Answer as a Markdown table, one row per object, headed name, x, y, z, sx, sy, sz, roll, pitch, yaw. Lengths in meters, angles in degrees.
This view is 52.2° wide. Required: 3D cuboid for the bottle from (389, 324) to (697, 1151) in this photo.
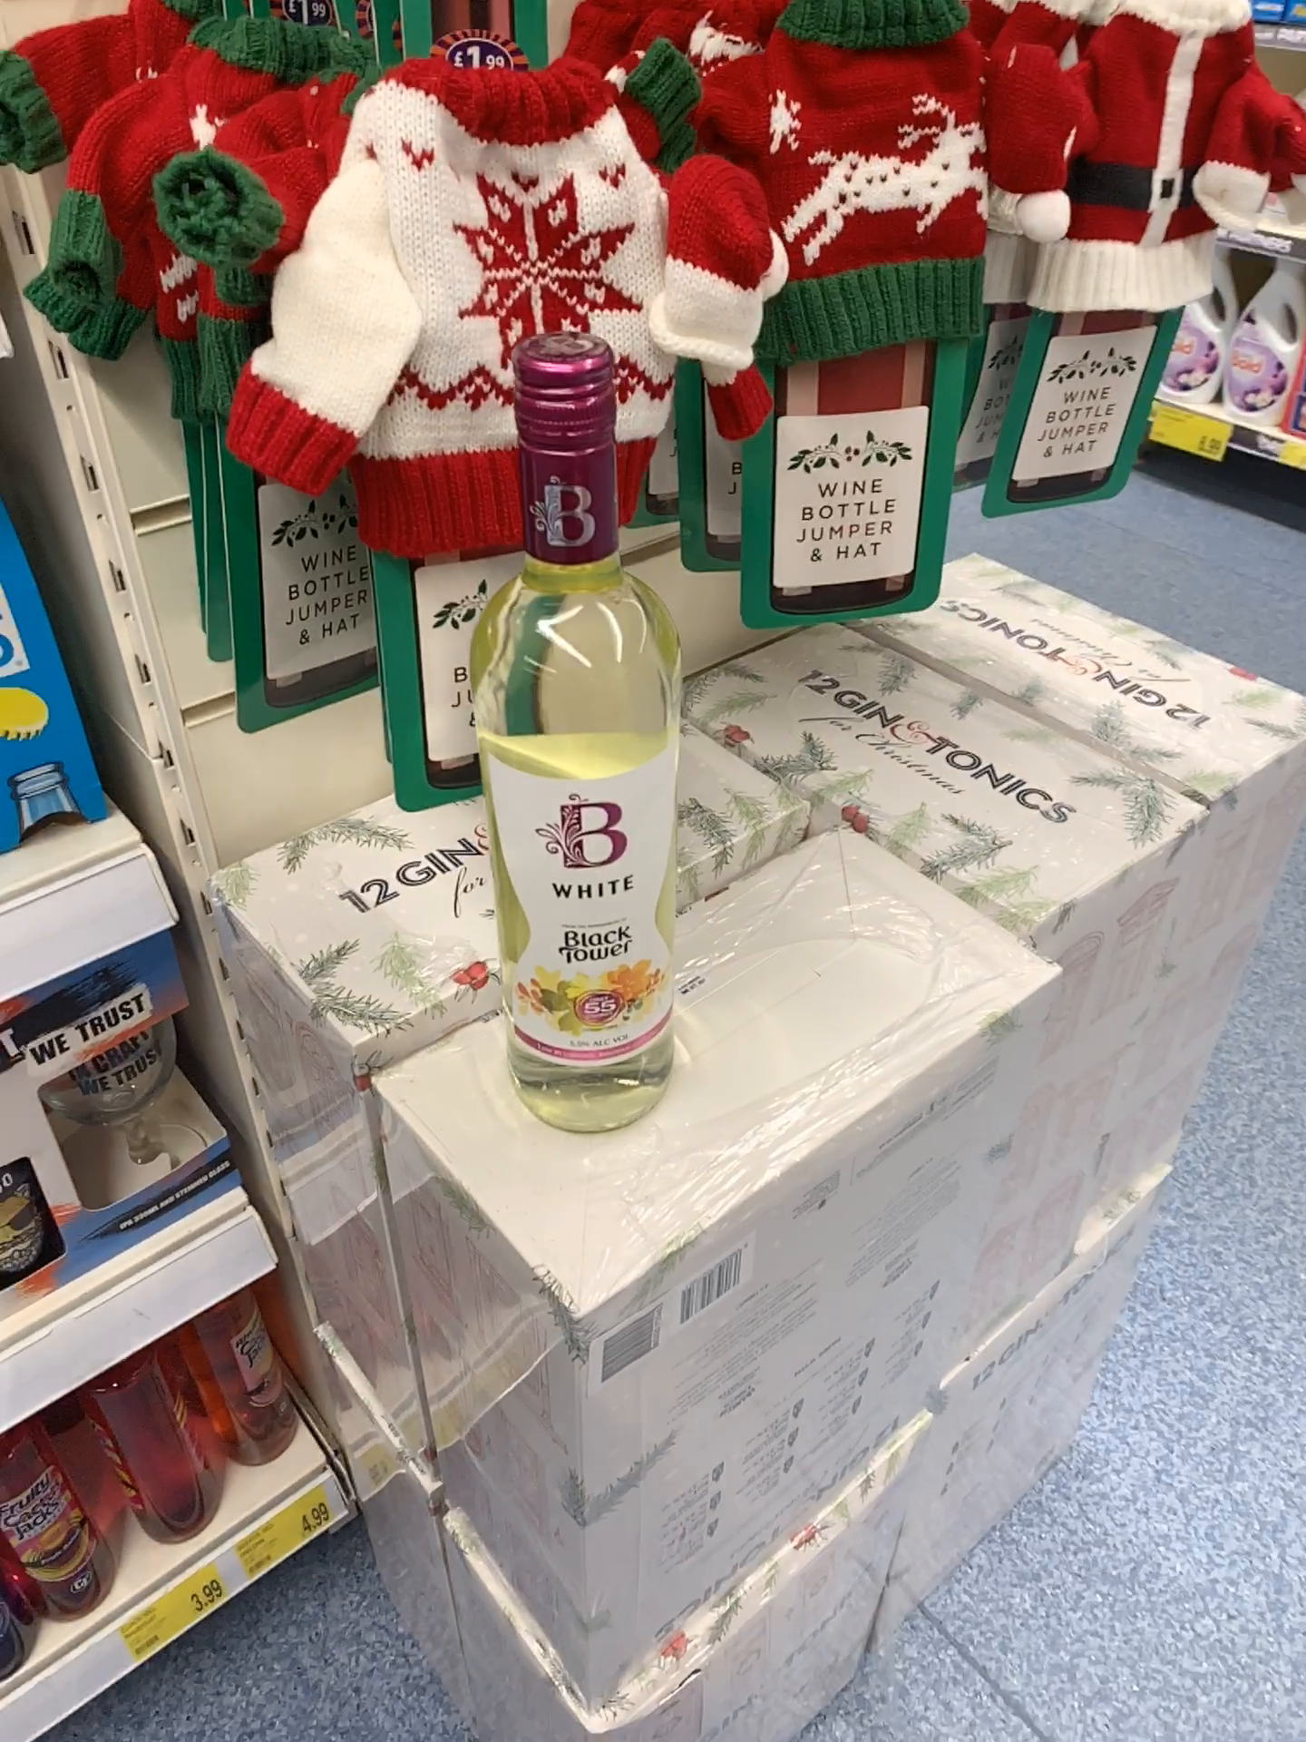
| name | x | y | z | sx | sy | sz | roll | pitch | yaw |
| --- | --- | --- | --- | --- | --- | --- | --- | --- | --- |
| bottle | -0.030 | -0.030 | 0.471 | 0.081 | 0.288 | 0.081 | 0 | 38 | 0 |
